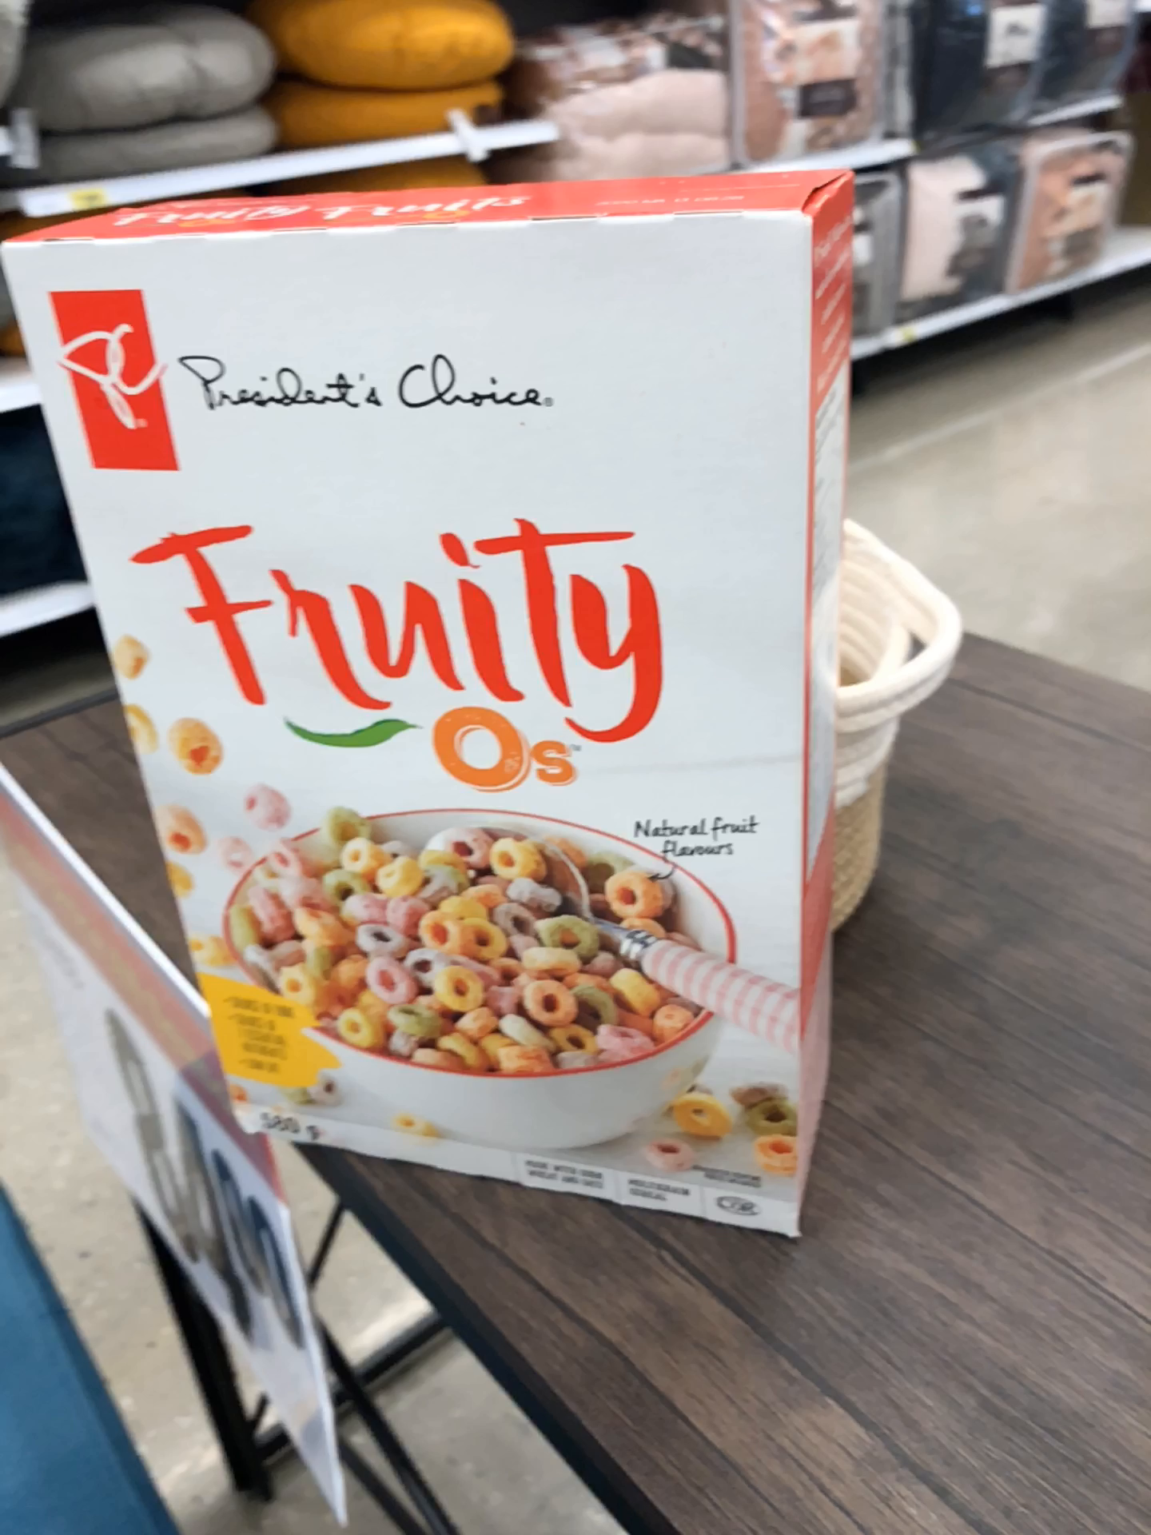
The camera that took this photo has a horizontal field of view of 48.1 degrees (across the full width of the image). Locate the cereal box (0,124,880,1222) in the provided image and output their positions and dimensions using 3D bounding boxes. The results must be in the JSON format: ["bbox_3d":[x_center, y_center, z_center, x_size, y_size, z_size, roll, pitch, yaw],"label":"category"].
[{"bbox_3d":[-0.035,-0.019,0.369,0.220,0.279,0.080,5,31,17],"label":"cereal box"}]
